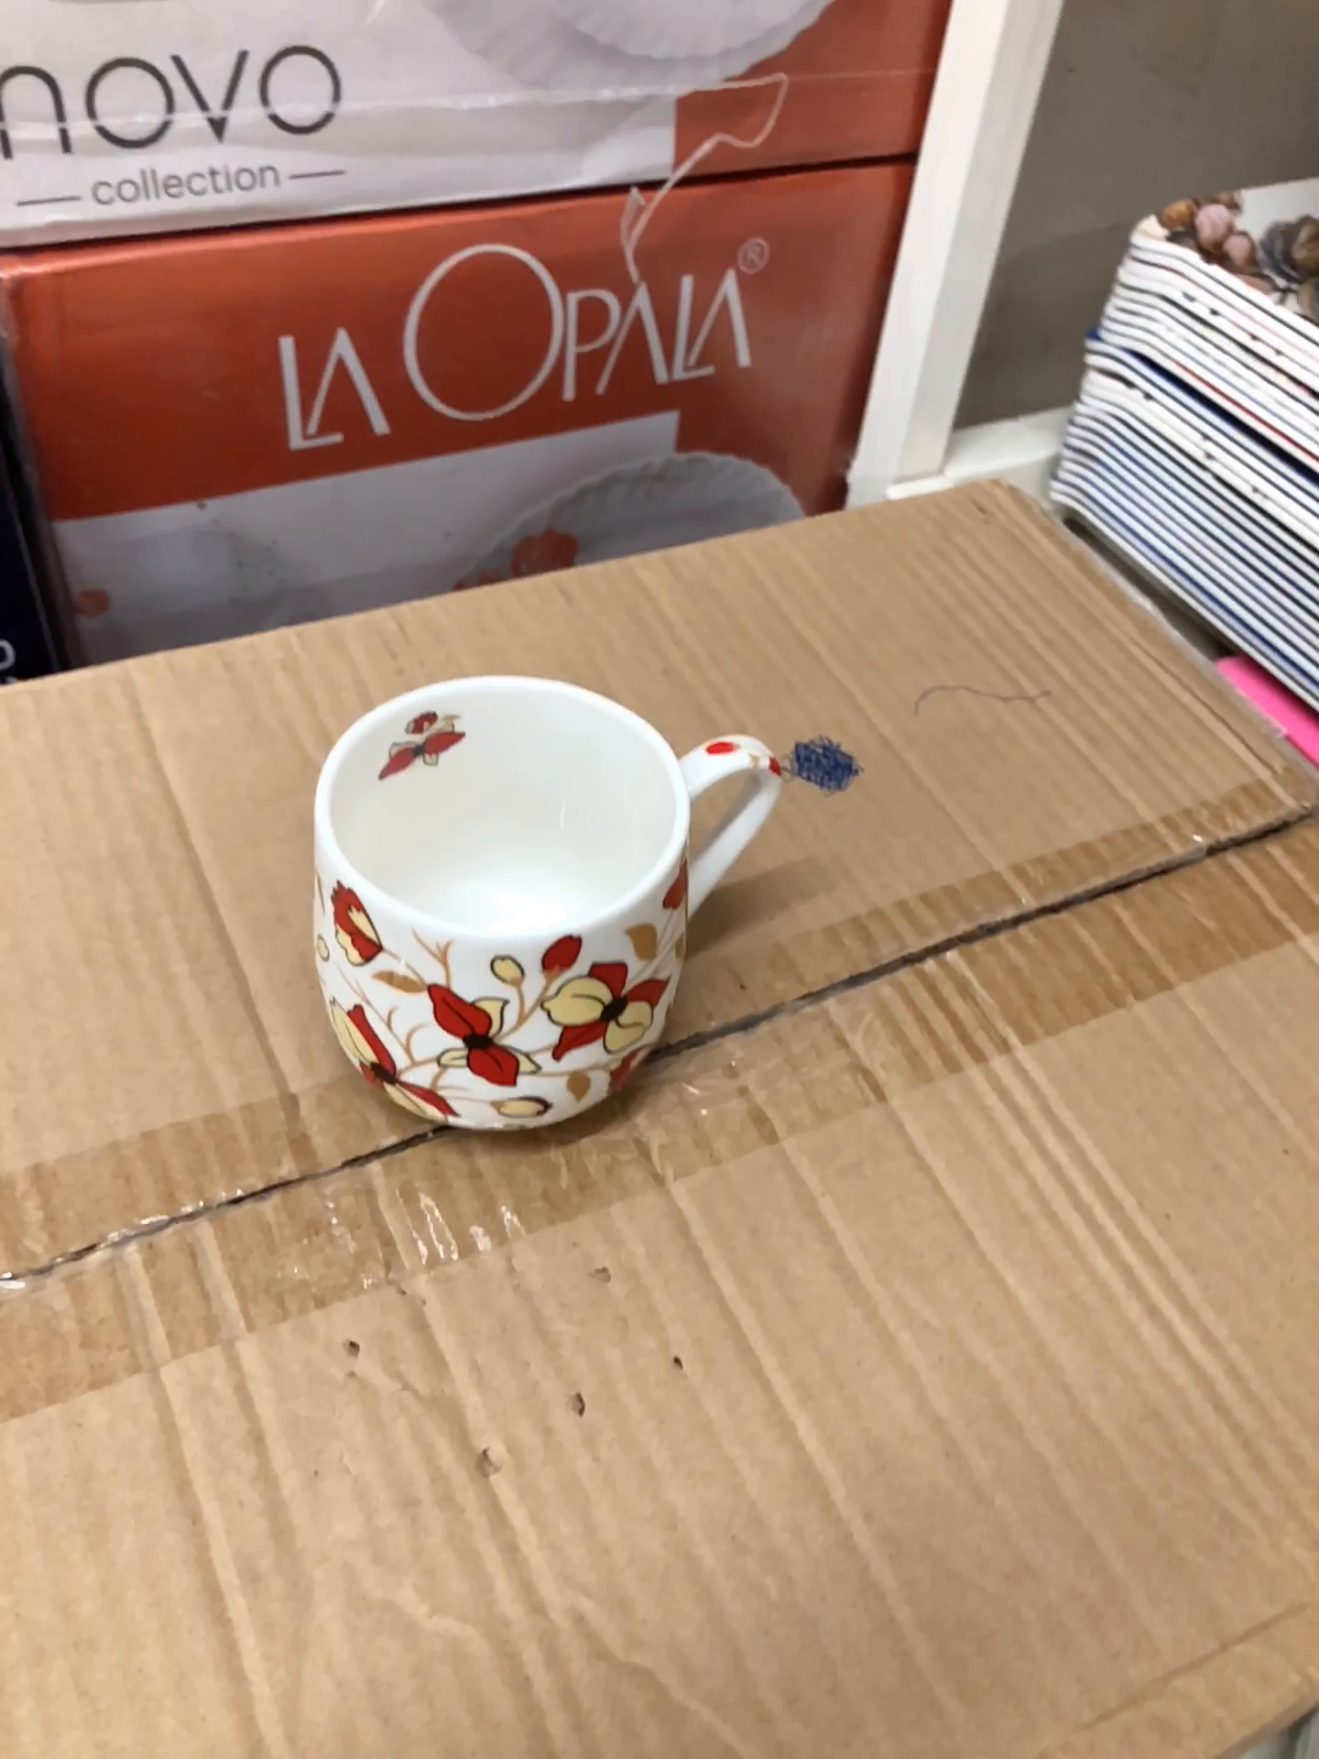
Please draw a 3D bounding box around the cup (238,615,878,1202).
[{"bbox_3d":[-0.020,0.003,0.267,0.090,0.060,0.060,-17,51,-22],"label":"cup"}]
